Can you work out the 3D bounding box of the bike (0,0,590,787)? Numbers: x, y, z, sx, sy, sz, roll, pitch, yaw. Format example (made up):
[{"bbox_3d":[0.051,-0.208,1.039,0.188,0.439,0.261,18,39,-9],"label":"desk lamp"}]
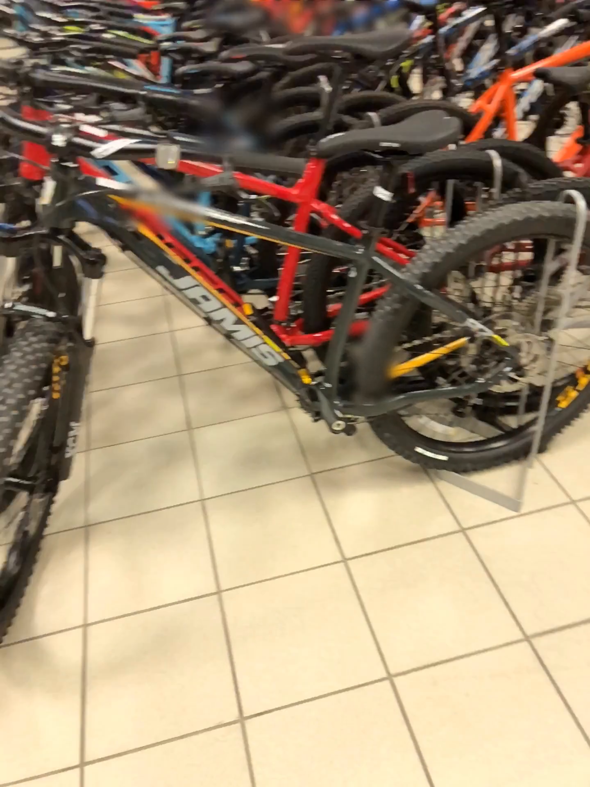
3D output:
[{"bbox_3d":[0.095,-0.054,1.230,1.543,1.166,0.811,-19,39,-17],"label":"bike"}]
